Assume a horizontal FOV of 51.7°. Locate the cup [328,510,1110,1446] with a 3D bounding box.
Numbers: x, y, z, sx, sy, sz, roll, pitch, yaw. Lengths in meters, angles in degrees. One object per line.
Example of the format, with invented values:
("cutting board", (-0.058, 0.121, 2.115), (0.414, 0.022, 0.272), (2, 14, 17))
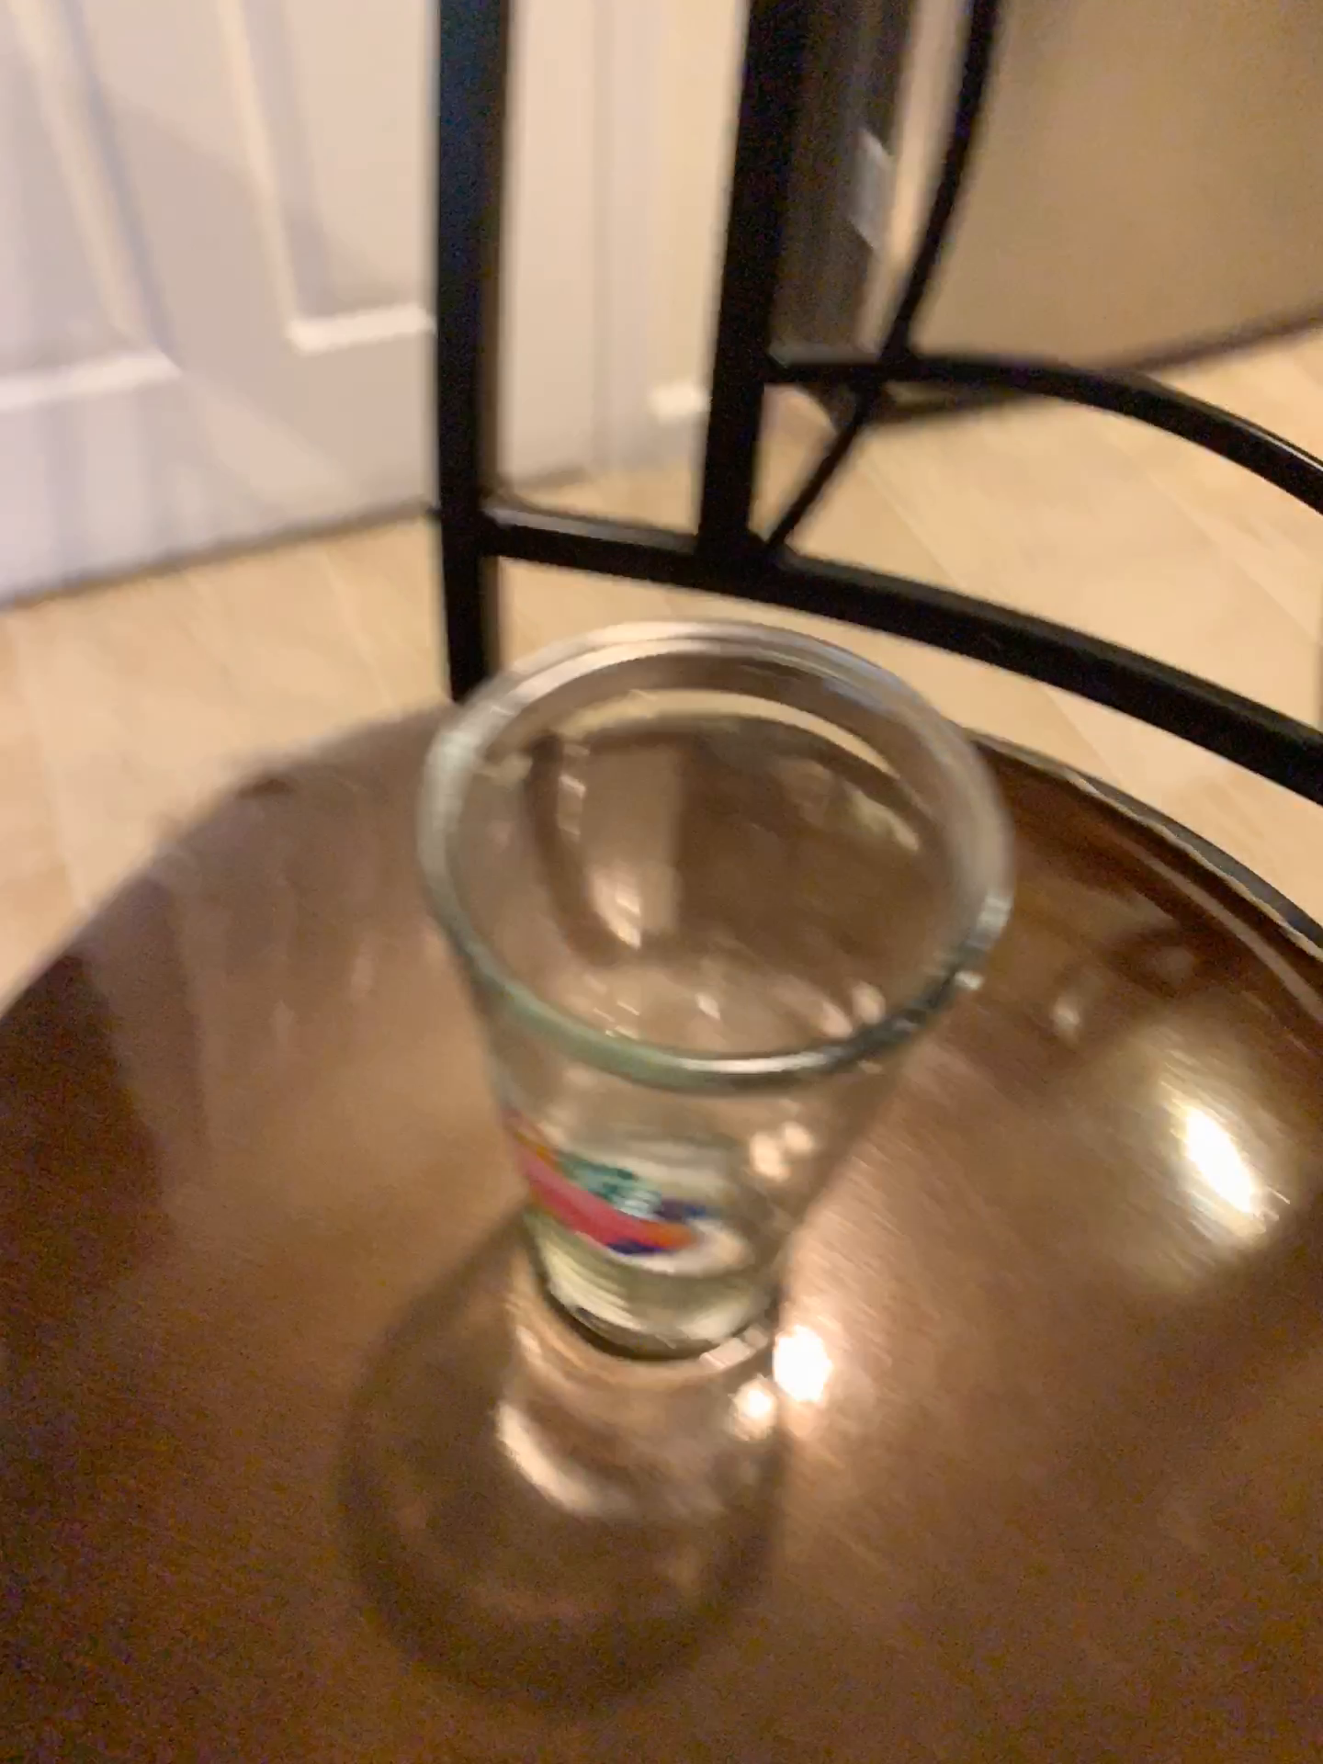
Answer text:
("cup", (0.006, 0.027, 0.256), (0.080, 0.149, 0.080), (1, 54, -2))
